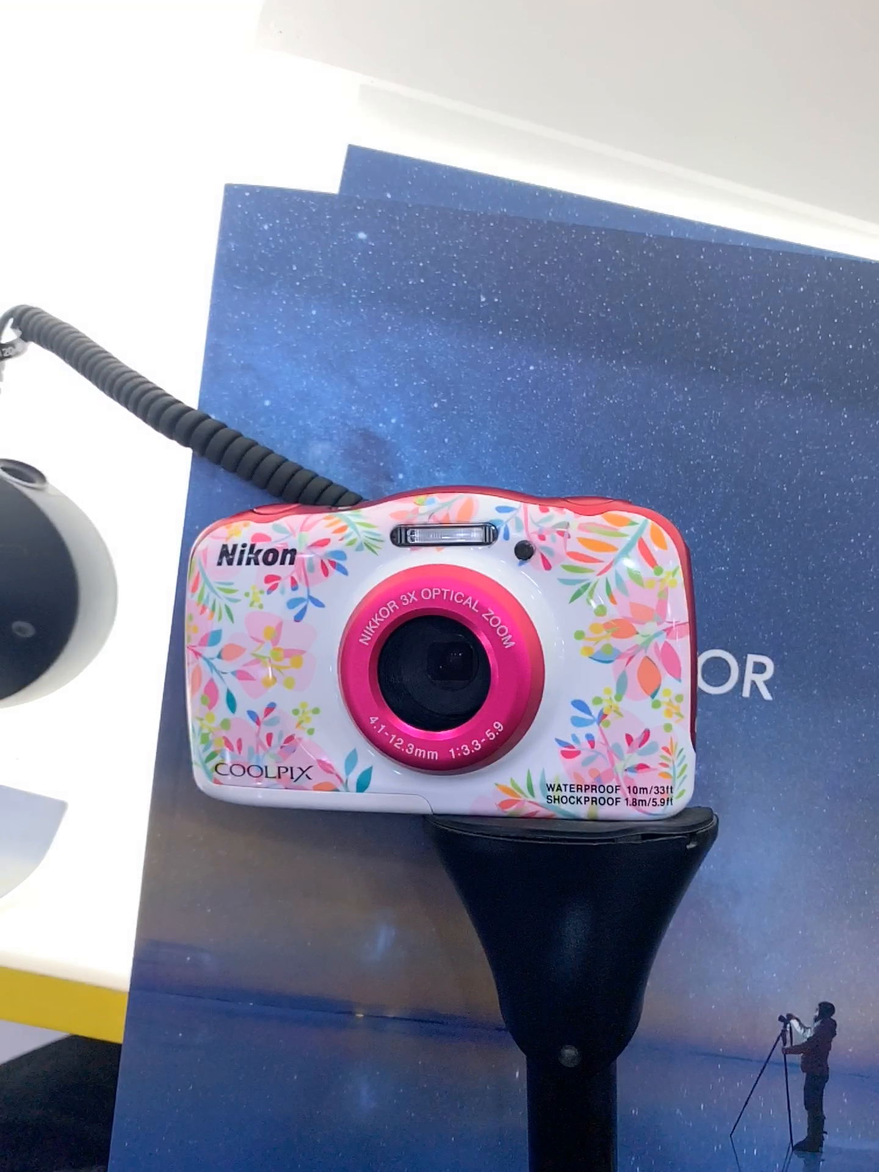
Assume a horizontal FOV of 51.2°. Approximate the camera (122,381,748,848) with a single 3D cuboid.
[{"bbox_3d":[-0.002,0.006,0.186,0.110,0.040,0.080,-3,84,0],"label":"camera"}]
